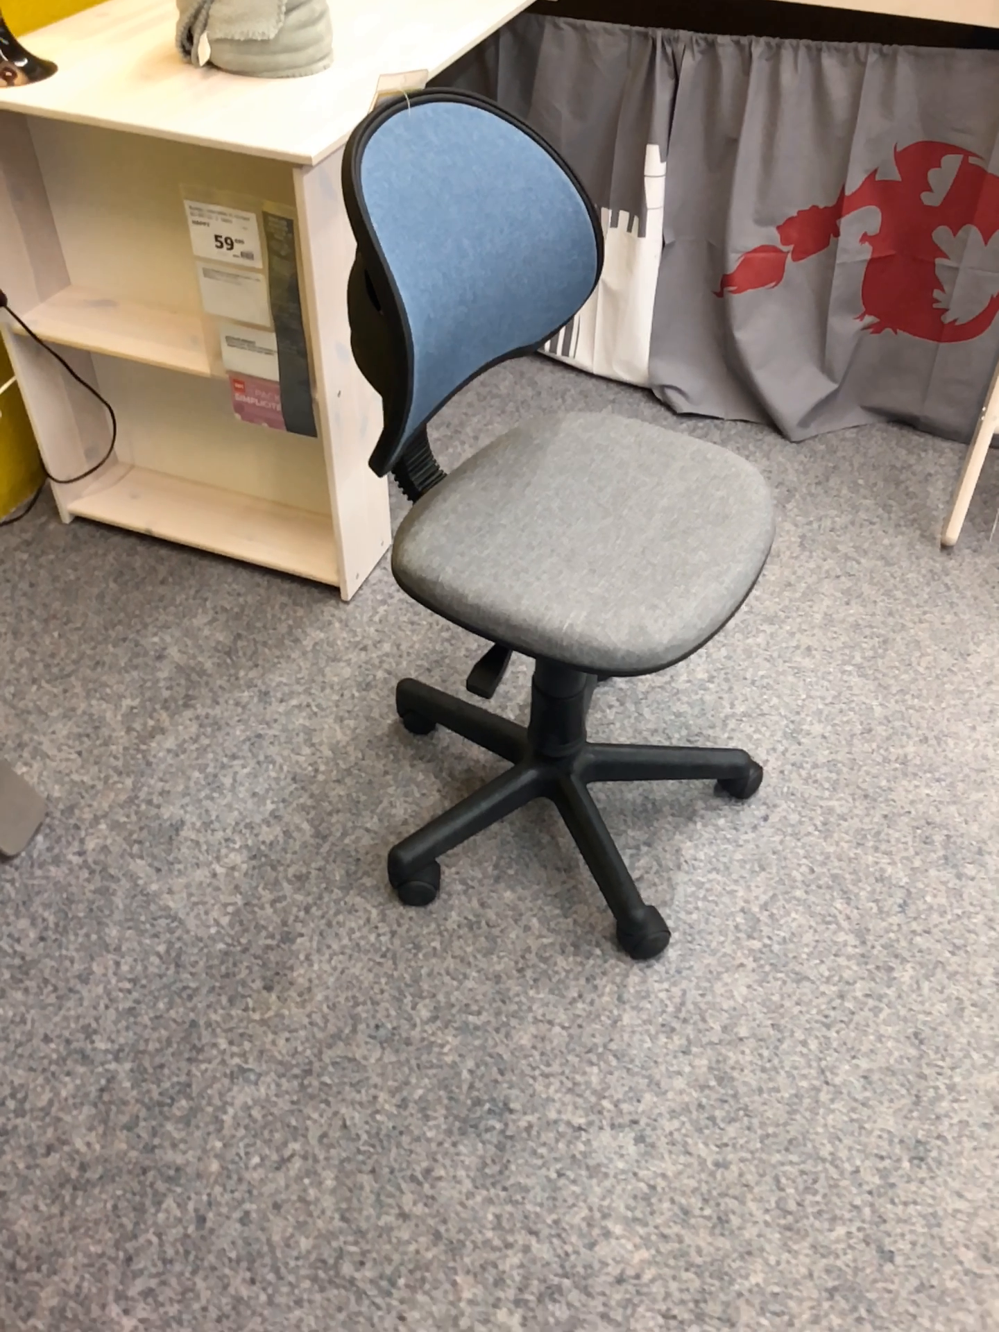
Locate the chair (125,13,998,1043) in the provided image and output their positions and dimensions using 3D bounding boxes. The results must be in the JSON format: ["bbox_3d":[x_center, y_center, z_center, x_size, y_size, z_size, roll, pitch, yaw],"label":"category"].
[{"bbox_3d":[0.110,-0.160,1.147,0.560,0.746,0.604,20,46,18],"label":"chair"}]
